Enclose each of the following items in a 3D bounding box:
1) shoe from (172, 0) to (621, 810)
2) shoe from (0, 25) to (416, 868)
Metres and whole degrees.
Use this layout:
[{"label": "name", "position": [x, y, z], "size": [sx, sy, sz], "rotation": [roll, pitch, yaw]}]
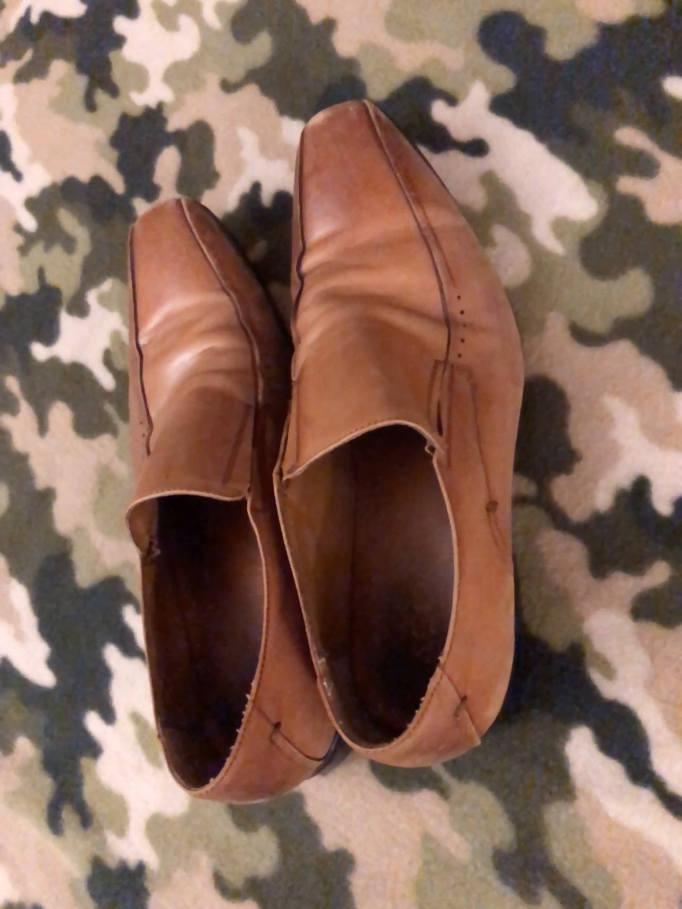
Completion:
[{"label": "shoe", "position": [0.022, -0.039, 0.318], "size": [0.110, 0.120, 0.320], "rotation": [-13, 76, 23]}, {"label": "shoe", "position": [-0.074, -0.006, 0.352], "size": [0.110, 0.120, 0.320], "rotation": [-19, 73, 21]}]
